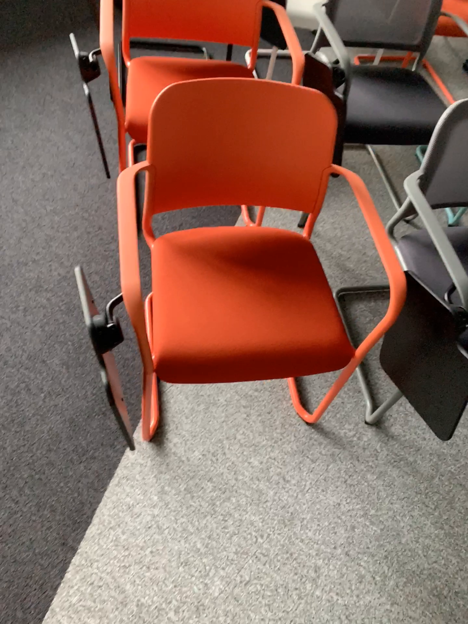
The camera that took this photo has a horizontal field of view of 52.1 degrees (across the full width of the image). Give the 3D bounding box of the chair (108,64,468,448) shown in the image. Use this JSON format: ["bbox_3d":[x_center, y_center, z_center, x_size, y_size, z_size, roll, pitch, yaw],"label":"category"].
[{"bbox_3d":[0.014,-0.080,1.211,0.580,0.767,0.562,-3,58,-12],"label":"chair"}]

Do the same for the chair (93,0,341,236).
[{"bbox_3d":[-0.124,-0.749,1.630,0.610,0.757,0.602,-3,58,-12],"label":"chair"}]
